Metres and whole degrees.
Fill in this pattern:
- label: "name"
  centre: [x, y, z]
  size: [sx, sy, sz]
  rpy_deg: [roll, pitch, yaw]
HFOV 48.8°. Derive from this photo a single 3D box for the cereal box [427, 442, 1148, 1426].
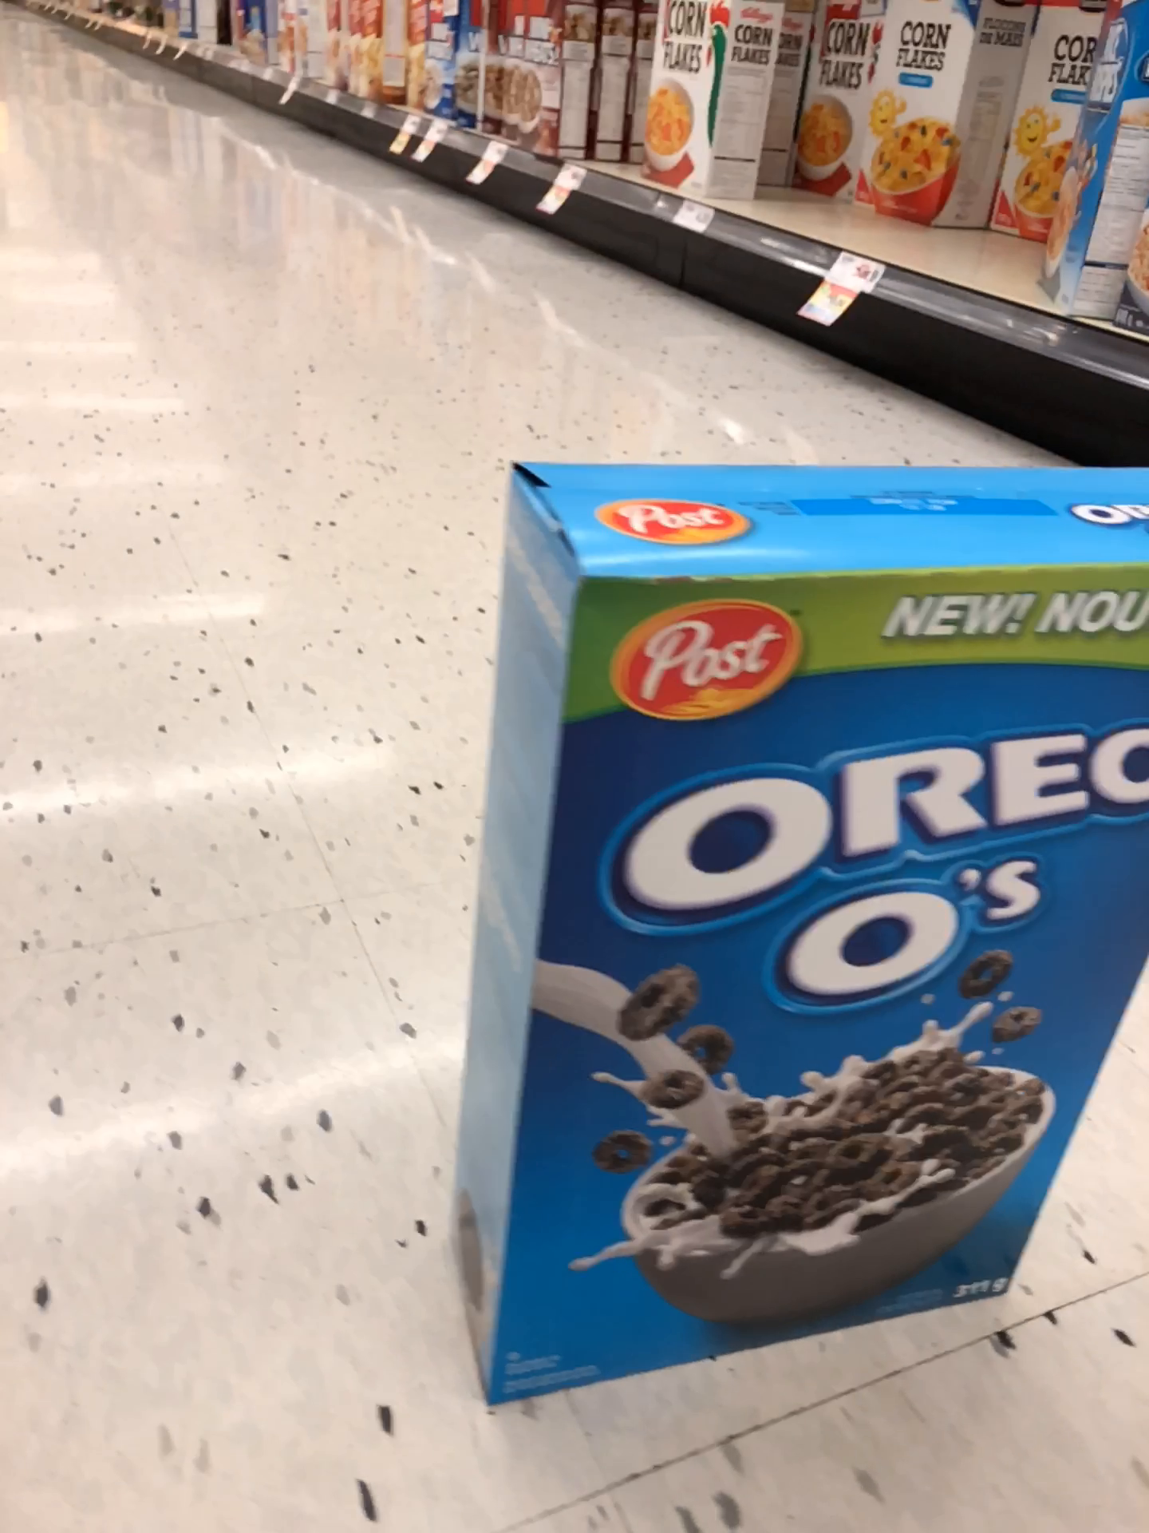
- label: "cereal box"
  centre: [0.069, 0.053, 0.354]
  size: [0.200, 0.268, 0.060]
  rpy_deg: [-3, 31, -17]
